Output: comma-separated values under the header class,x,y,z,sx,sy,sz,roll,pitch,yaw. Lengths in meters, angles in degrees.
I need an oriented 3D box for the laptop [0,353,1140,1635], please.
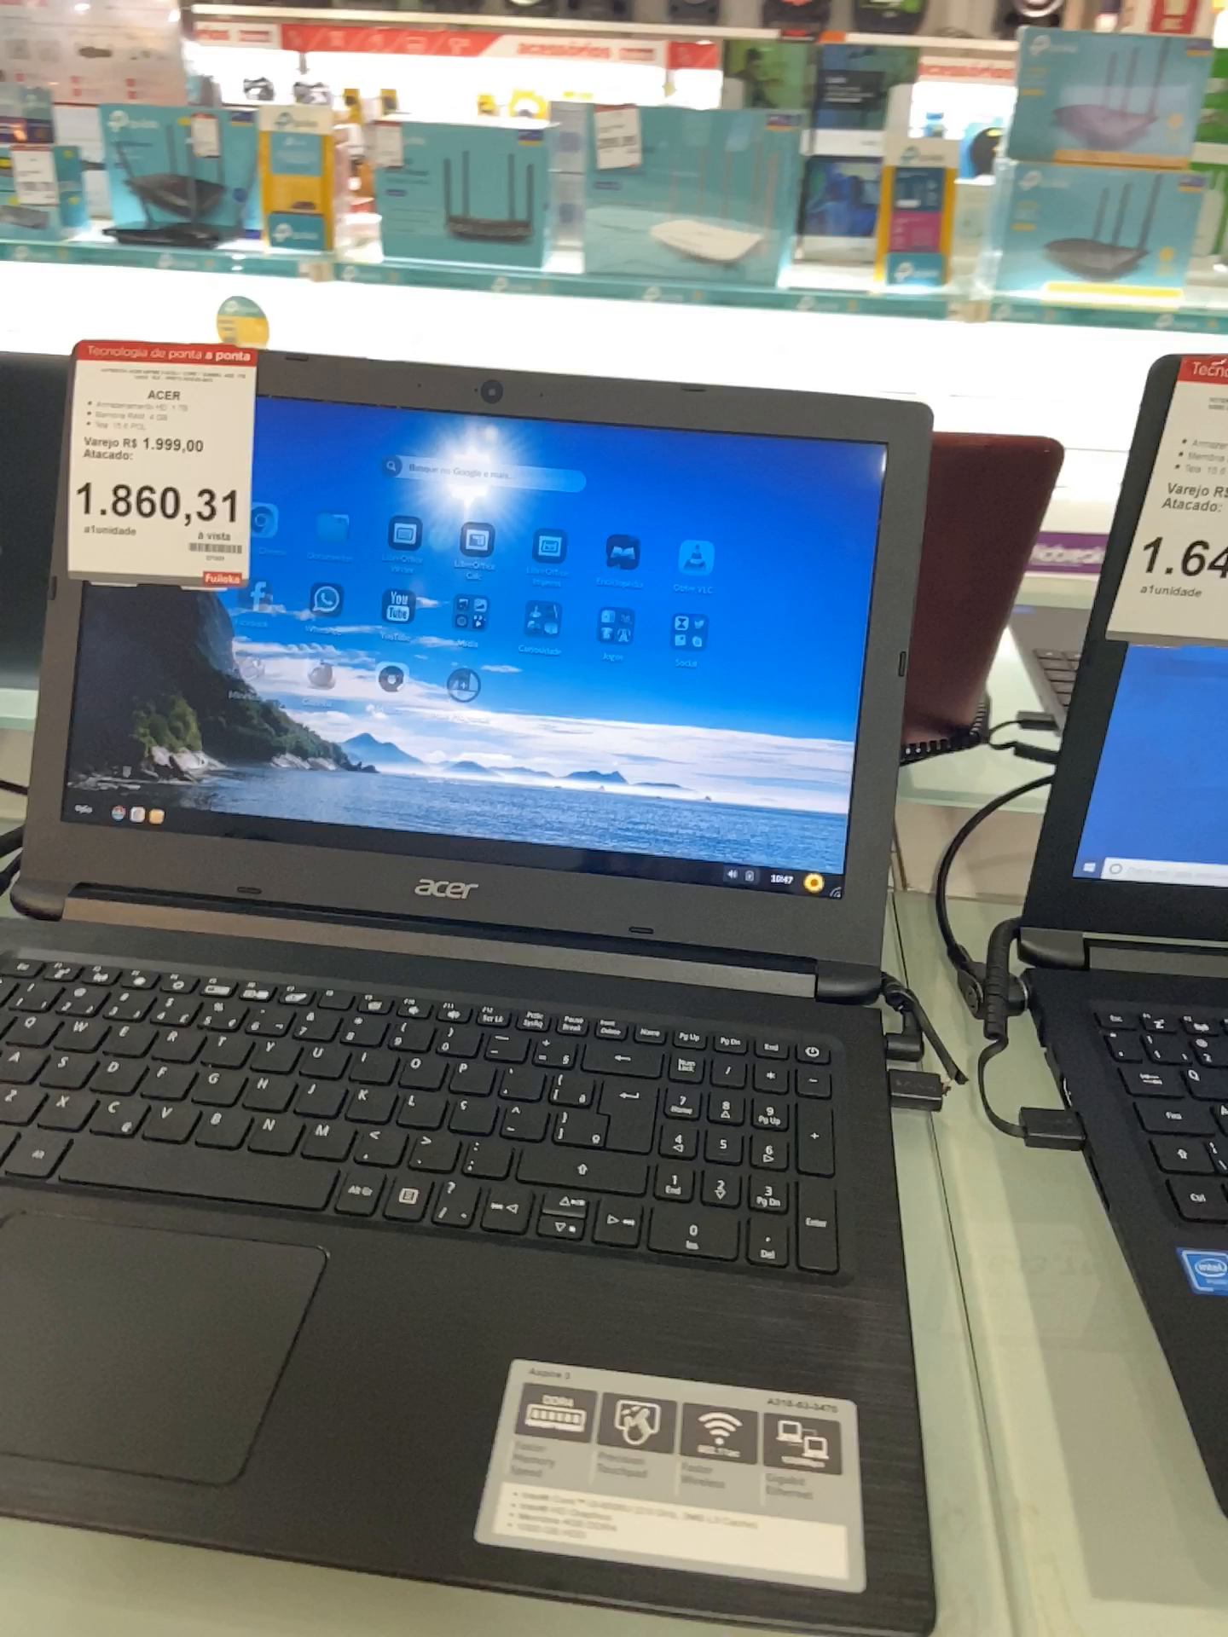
class,x,y,z,sx,sy,sz,roll,pitch,yaw
laptop,-0.081,-0.004,0.438,0.379,0.215,0.381,5,30,5
